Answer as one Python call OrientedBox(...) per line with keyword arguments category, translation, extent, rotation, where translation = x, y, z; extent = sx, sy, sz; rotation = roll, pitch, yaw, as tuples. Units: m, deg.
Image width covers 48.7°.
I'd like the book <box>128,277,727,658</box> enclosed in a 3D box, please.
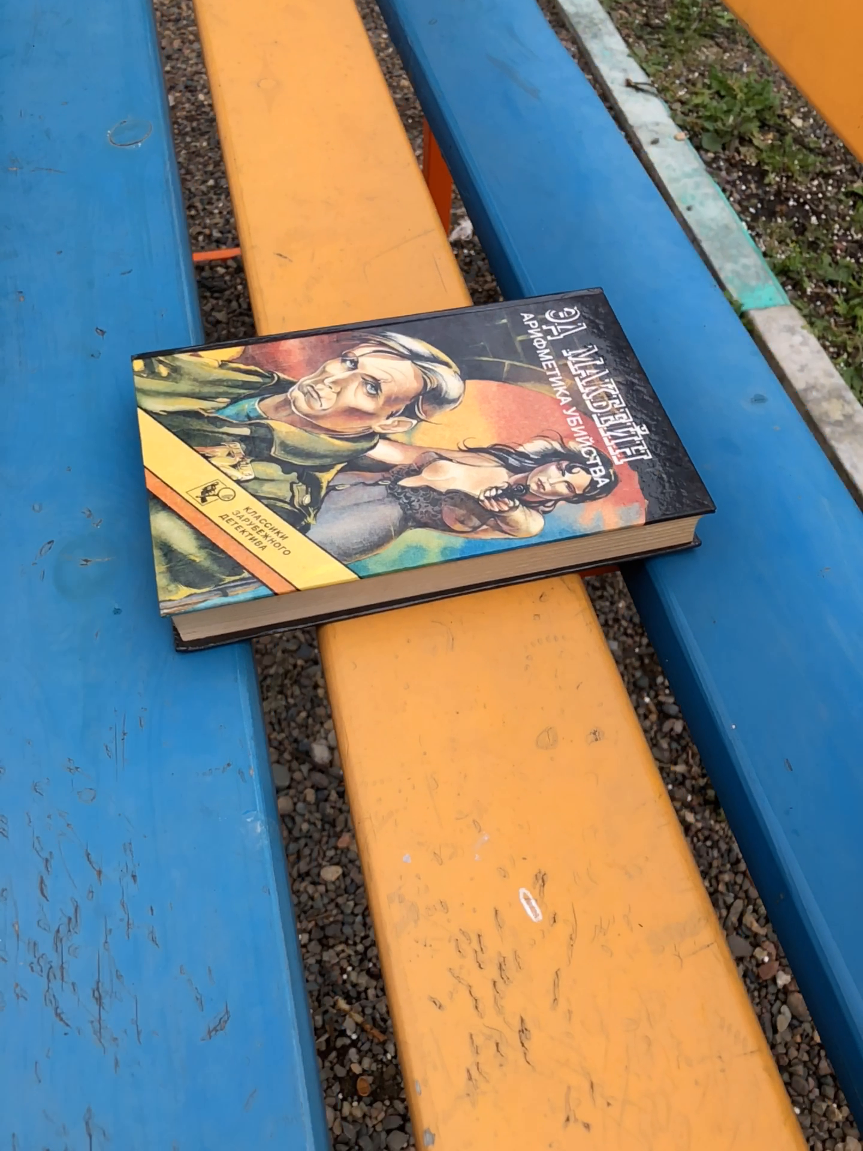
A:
OrientedBox(category="book", translation=(-0.008, -0.052, 0.388), extent=(0.210, 0.030, 0.136), rotation=(-11, 56, -9))
